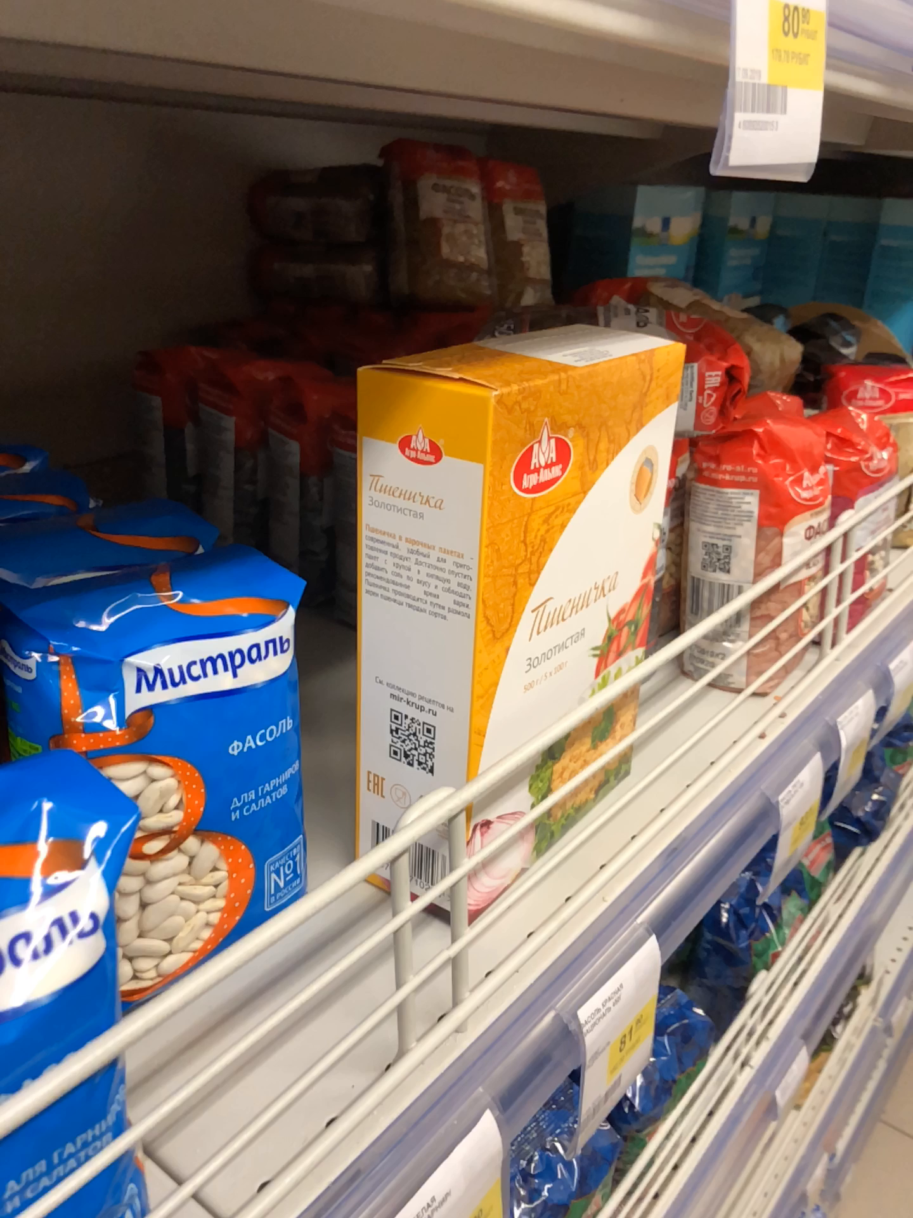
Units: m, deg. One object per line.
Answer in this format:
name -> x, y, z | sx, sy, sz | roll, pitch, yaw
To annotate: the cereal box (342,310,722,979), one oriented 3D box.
cereal box -> 0.028, 0.003, 0.369 | 0.060, 0.199, 0.141 | 17, 28, 31
